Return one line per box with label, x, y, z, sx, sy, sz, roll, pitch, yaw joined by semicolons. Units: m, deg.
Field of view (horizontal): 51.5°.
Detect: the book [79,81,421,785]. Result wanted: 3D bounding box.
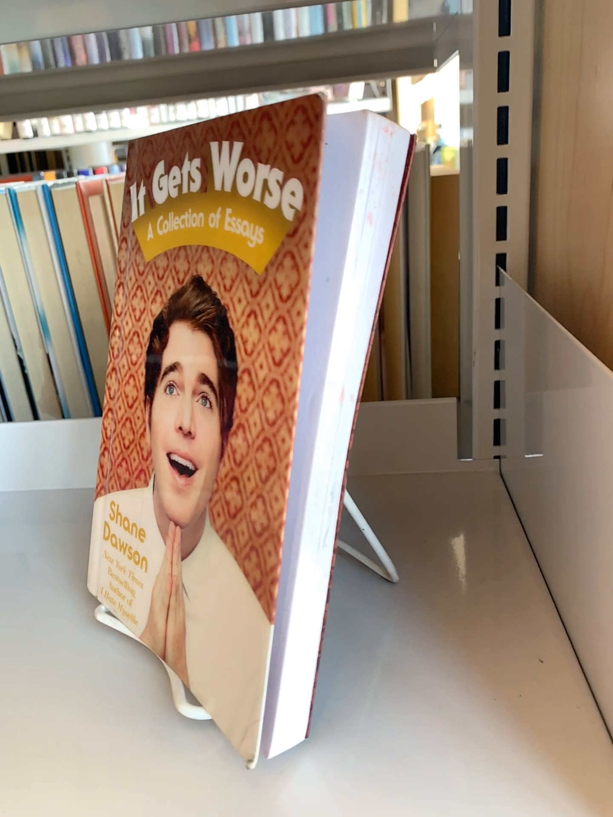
book;-0.039;0.001;0.246;0.030;0.209;0.149;-5;16;-42
